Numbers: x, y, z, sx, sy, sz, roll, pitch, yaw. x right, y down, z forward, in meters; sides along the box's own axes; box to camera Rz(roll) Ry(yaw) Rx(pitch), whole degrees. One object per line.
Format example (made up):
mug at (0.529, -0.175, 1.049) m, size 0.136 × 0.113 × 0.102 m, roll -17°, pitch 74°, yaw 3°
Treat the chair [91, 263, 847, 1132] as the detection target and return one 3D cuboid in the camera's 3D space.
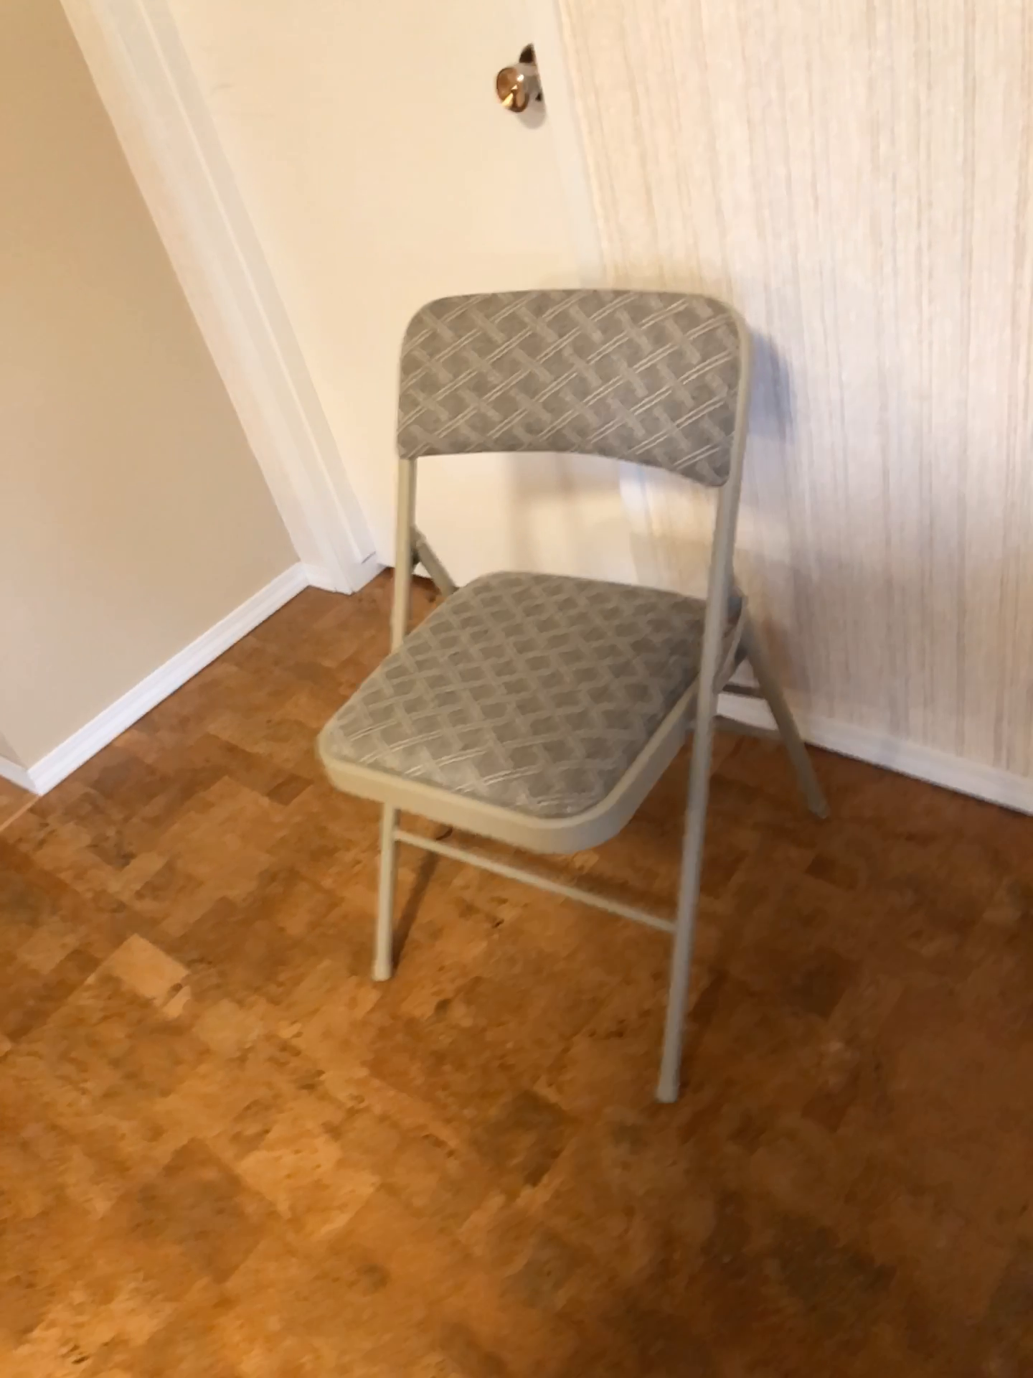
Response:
chair at (0.033, -0.008, 1.334) m, size 0.491 × 0.757 × 0.561 m, roll 13°, pitch 47°, yaw 32°
